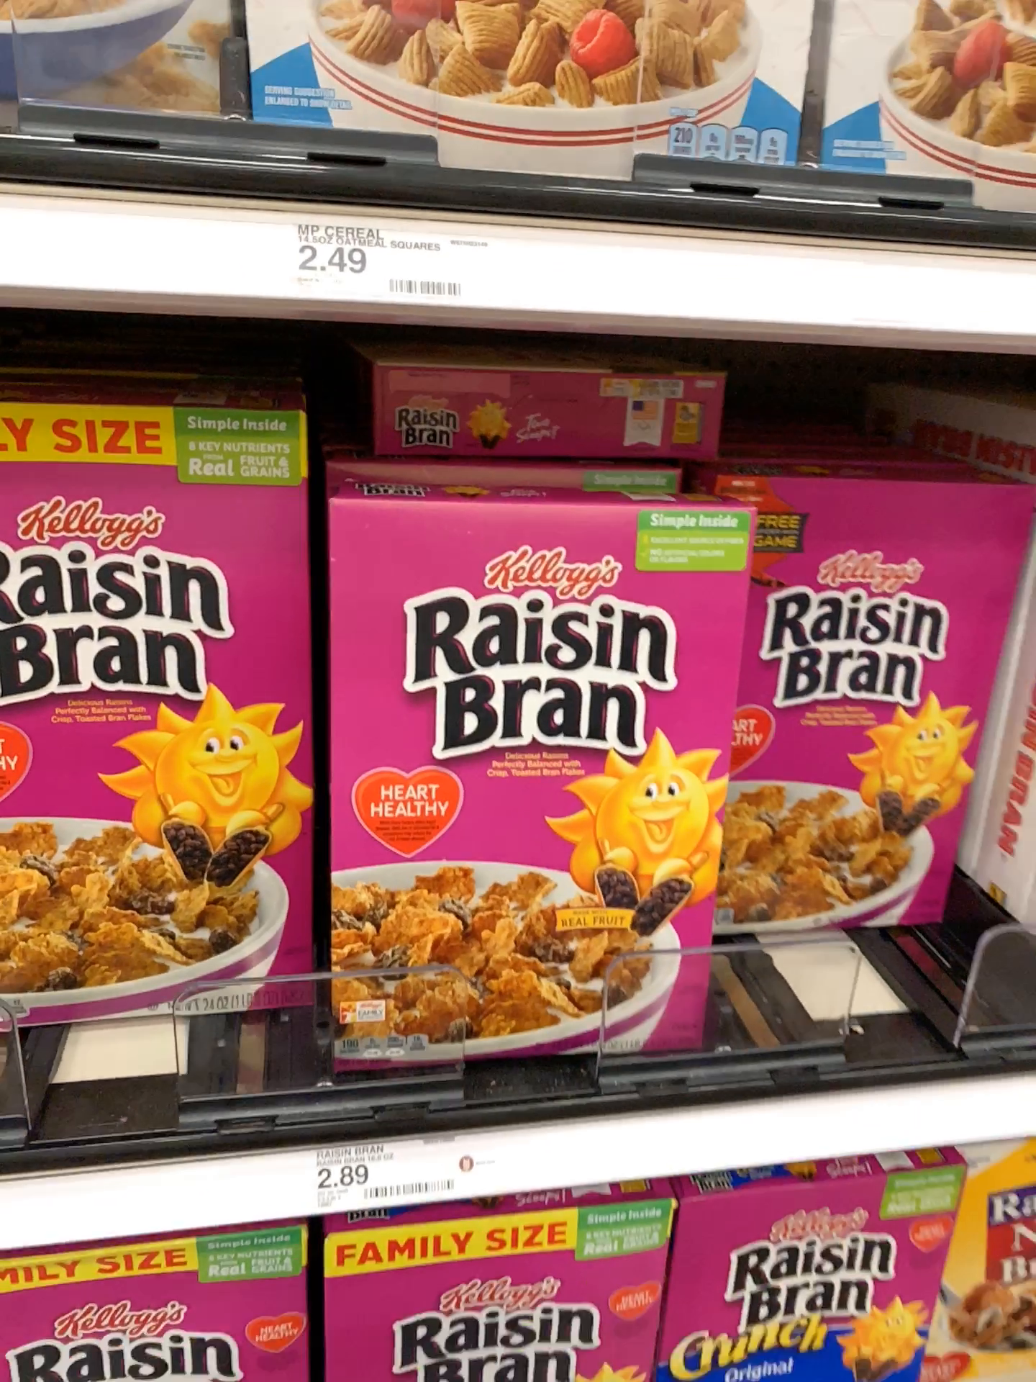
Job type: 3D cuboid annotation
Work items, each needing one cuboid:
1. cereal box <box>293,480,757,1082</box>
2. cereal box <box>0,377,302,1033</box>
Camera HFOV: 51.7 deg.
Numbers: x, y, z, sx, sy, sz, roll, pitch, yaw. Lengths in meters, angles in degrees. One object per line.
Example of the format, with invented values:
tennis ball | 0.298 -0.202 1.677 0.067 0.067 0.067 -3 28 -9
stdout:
cereal box | -0.003 0.044 0.515 0.200 0.279 0.050 -1 17 -11
cereal box | -0.219 0.011 0.514 0.220 0.299 0.060 -1 20 -12
